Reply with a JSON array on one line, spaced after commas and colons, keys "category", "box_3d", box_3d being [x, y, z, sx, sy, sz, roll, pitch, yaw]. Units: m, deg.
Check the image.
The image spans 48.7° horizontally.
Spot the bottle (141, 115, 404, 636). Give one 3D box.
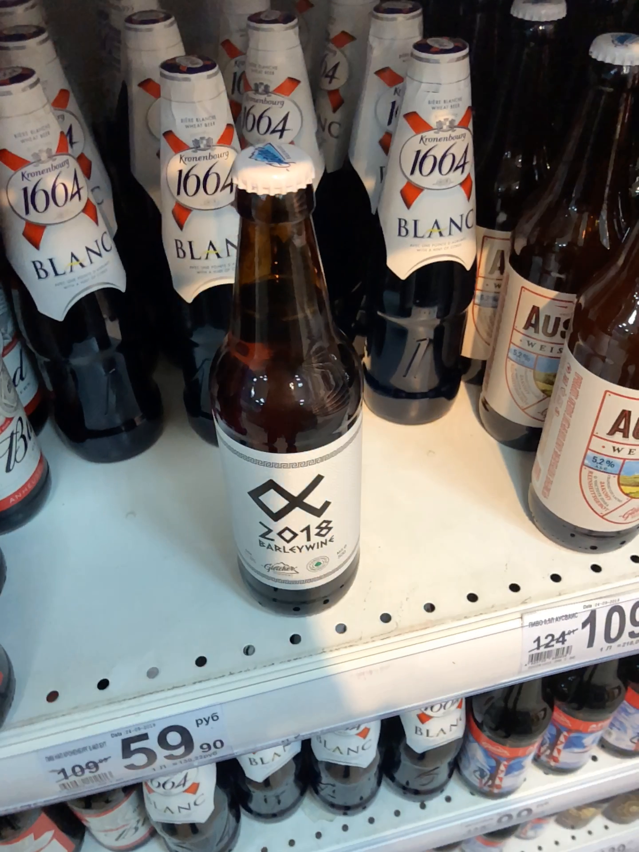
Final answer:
[{"category": "bottle", "box_3d": [-0.015, 0.000, 0.329, 0.080, 0.252, 0.070, -6, 46, -3]}]
